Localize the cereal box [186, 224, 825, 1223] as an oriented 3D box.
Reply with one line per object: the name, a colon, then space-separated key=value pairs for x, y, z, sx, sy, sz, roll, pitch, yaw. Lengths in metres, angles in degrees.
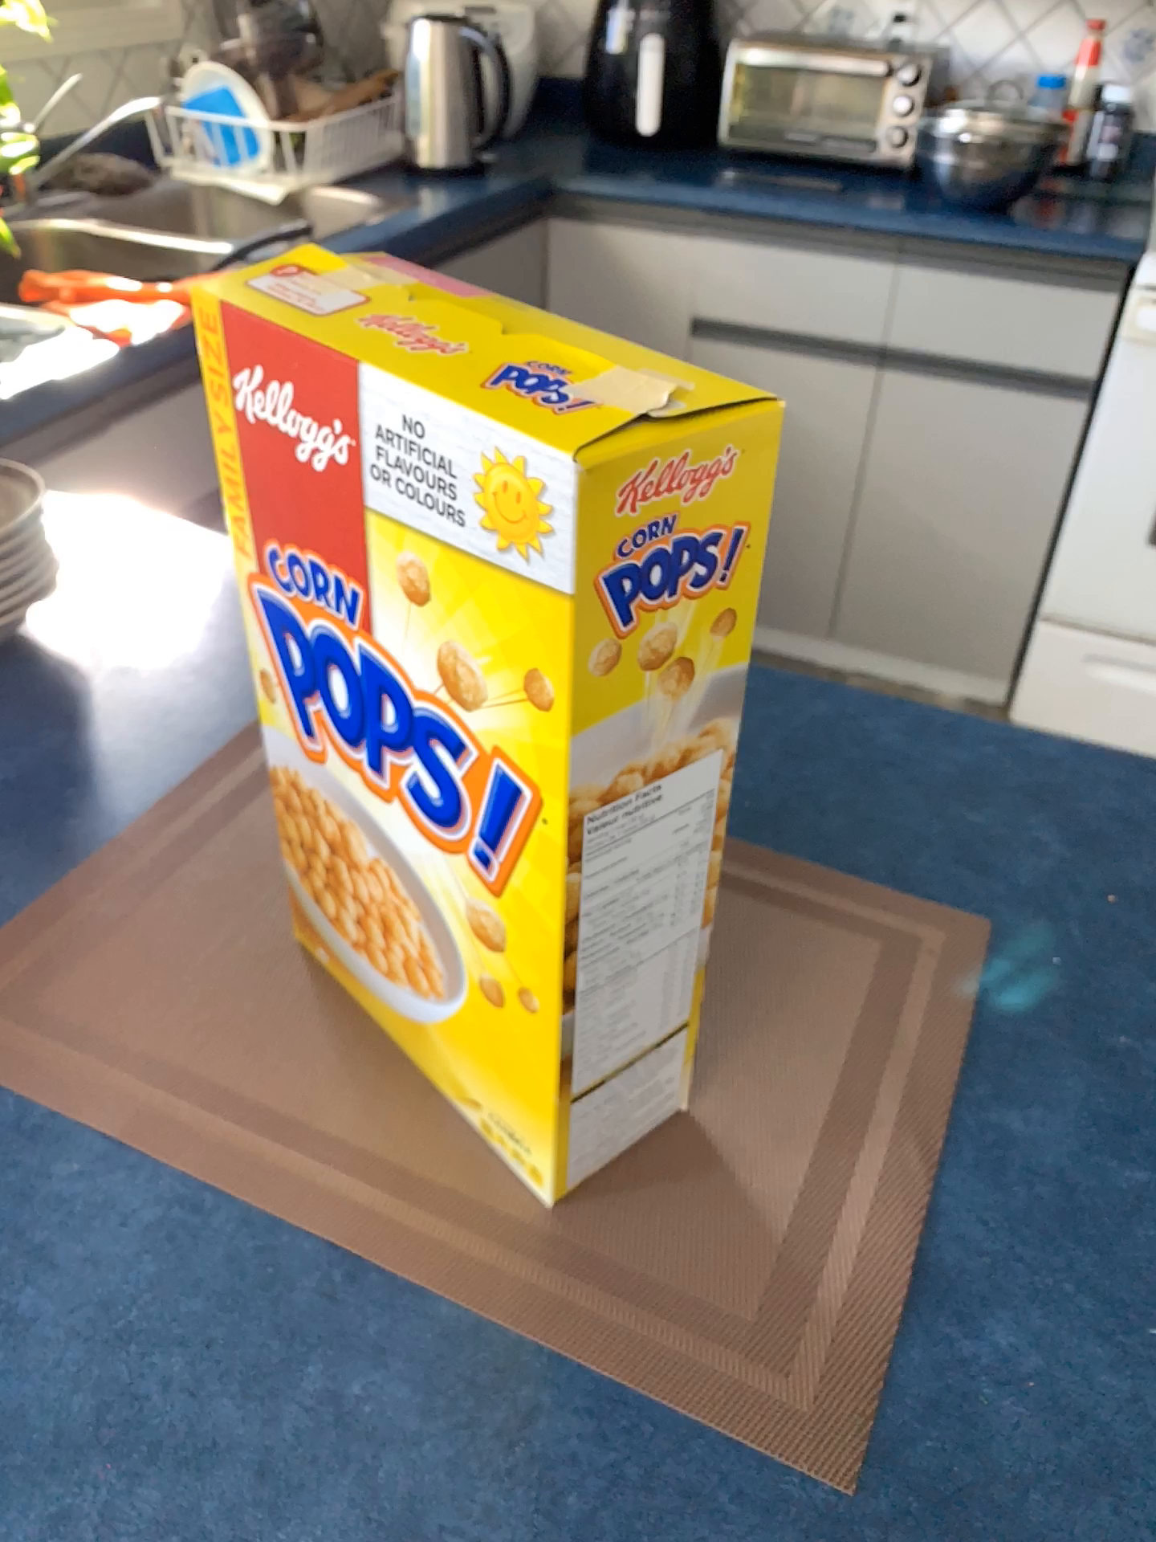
cereal box: x=-0.038 y=-0.017 z=0.468 sx=0.090 sy=0.317 sz=0.211 roll=-25 pitch=44 yaw=-33
